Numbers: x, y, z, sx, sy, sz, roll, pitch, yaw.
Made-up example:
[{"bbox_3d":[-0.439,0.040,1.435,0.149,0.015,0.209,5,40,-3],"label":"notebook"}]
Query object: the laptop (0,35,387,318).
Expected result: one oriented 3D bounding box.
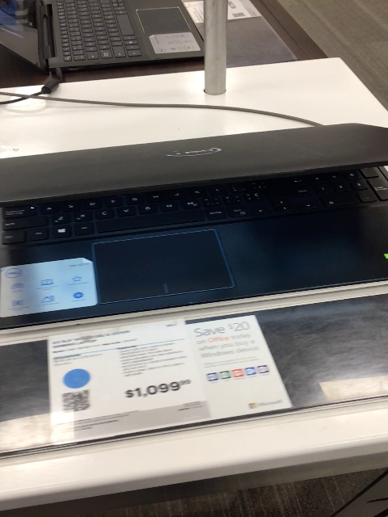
[{"bbox_3d":[0.033,-0.084,0.468,0.416,0.117,0.217,-7,51,-4],"label":"laptop"}]
